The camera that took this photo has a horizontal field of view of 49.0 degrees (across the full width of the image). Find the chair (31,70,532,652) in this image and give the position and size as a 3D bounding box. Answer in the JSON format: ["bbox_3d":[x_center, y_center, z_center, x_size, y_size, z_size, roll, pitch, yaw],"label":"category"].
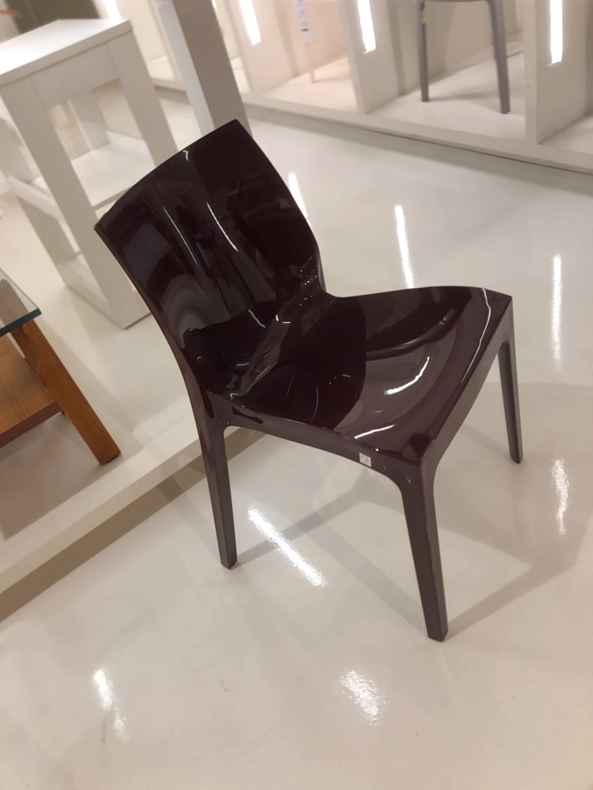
[{"bbox_3d":[0.073,-0.060,1.222,0.561,0.814,0.533,11,48,32],"label":"chair"}]
